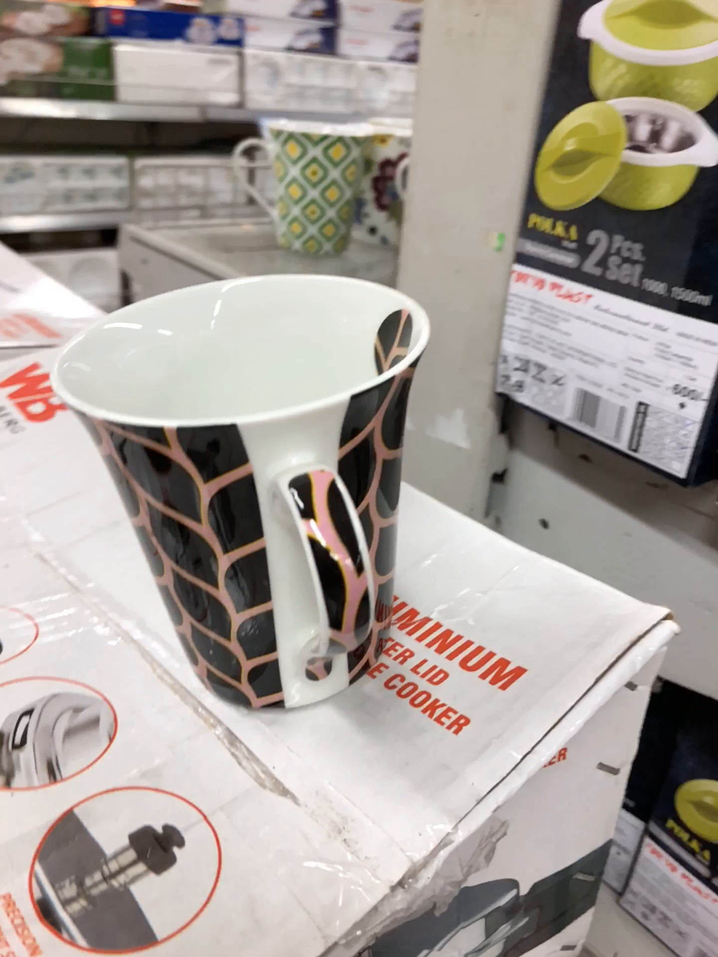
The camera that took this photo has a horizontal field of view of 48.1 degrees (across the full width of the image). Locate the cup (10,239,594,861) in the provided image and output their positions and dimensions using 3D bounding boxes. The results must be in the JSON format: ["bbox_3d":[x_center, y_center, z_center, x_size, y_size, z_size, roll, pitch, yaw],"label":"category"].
[{"bbox_3d":[-0.021,0.001,0.189,0.090,0.079,0.110,-14,32,-20],"label":"cup"}]
